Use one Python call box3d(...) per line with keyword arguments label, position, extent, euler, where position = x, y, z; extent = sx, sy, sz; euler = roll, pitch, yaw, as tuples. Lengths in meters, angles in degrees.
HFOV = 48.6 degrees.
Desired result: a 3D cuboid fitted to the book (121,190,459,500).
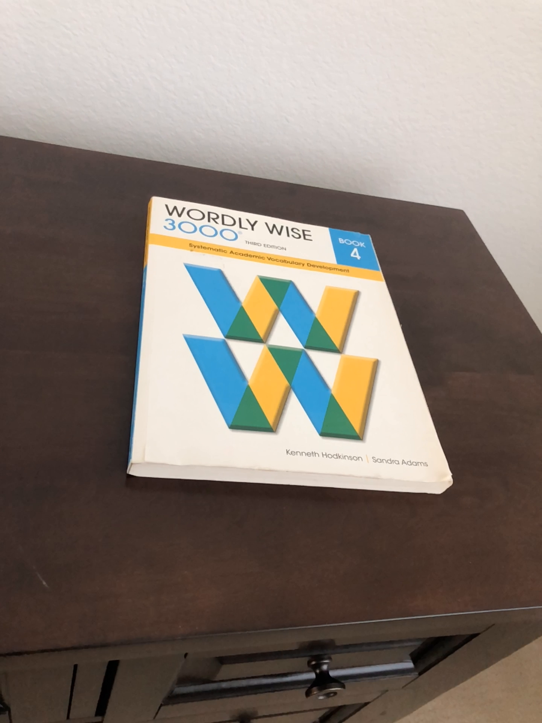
box3d(label="book", position=(0.007, -0.026, 0.466), extent=(0.217, 0.020, 0.275), euler=(7, 48, -15))
